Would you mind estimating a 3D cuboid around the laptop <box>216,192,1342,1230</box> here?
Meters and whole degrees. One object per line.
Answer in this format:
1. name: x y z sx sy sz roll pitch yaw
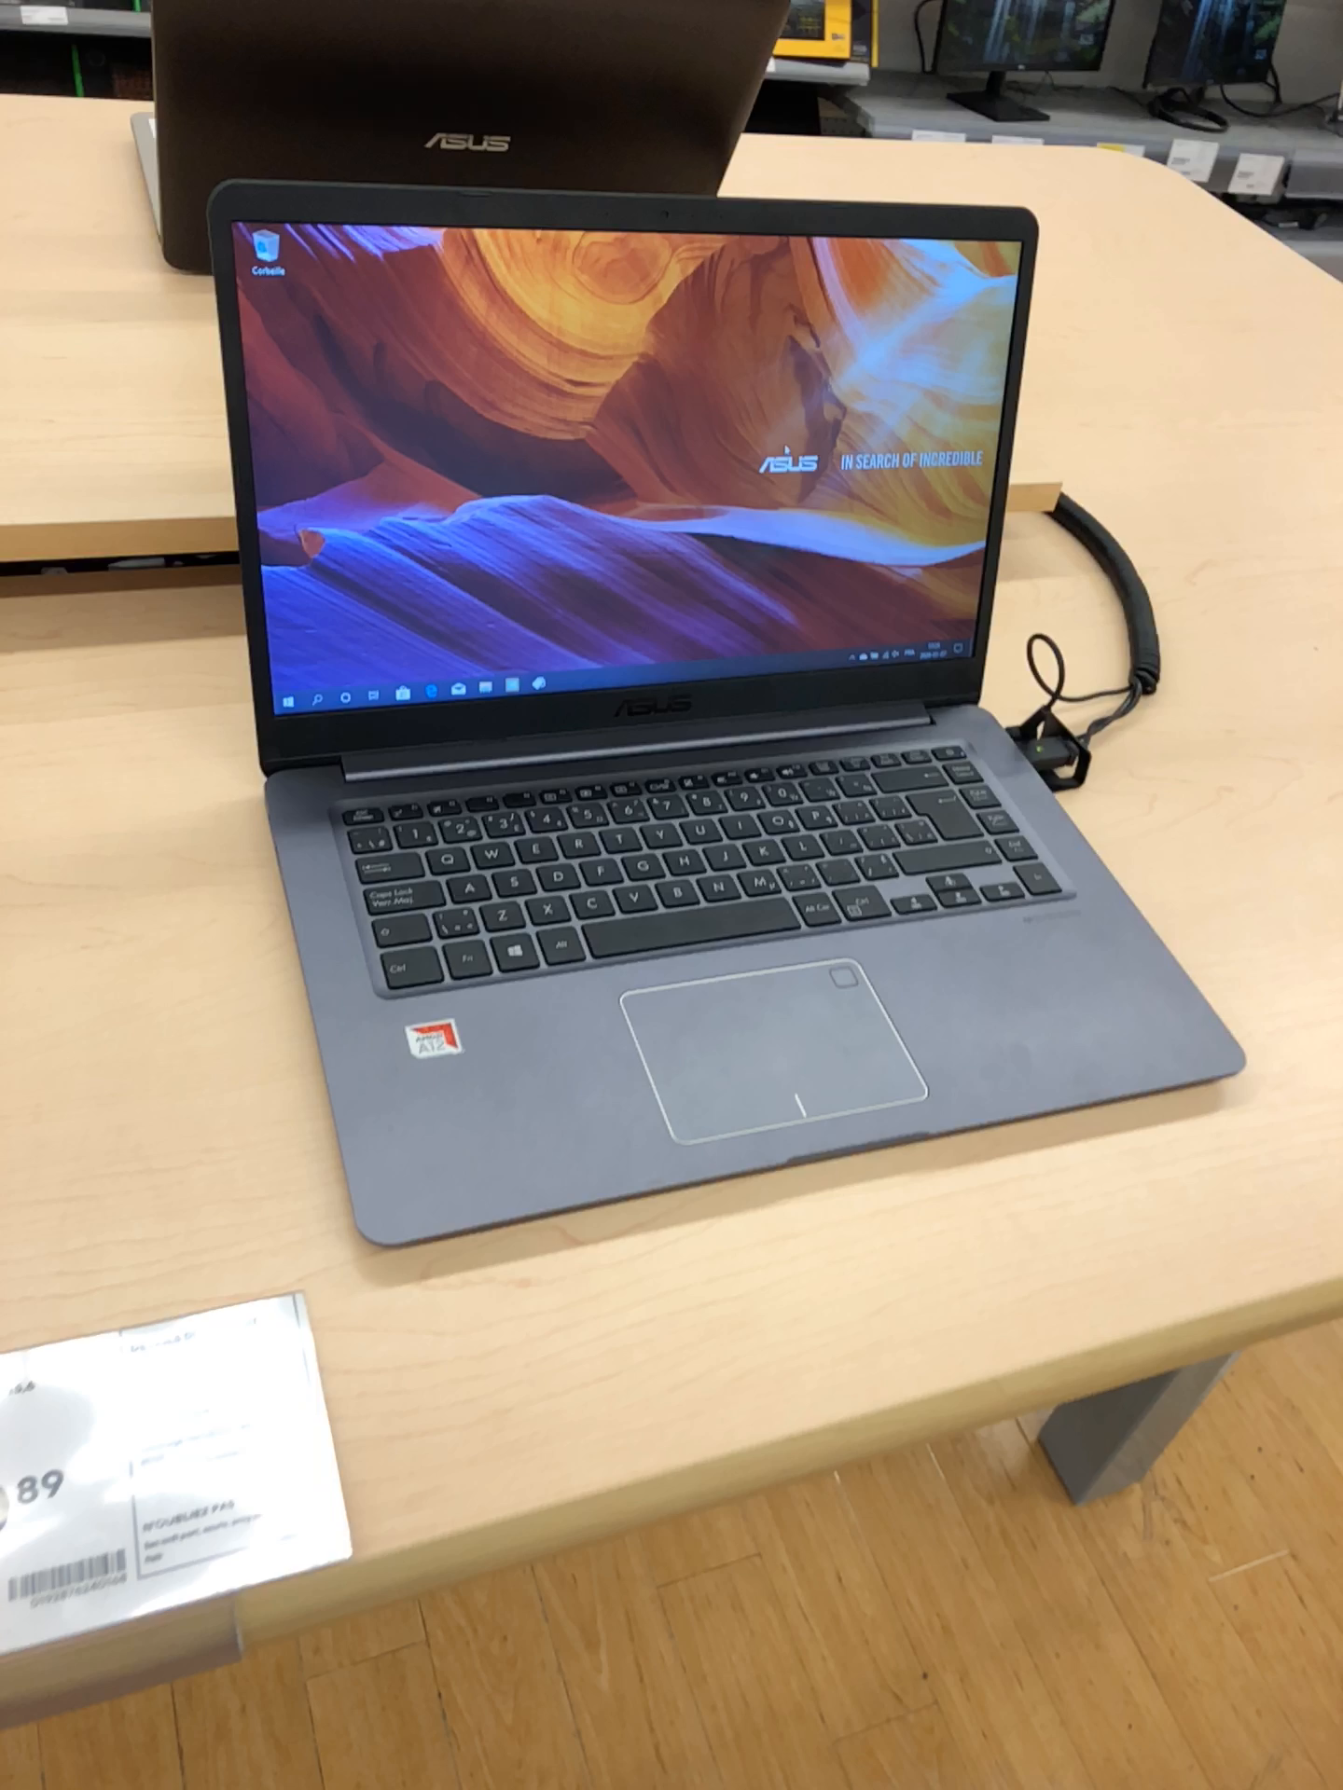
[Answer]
1. laptop: 0.033 -0.098 0.588 0.361 0.223 0.318 -8 46 -20
